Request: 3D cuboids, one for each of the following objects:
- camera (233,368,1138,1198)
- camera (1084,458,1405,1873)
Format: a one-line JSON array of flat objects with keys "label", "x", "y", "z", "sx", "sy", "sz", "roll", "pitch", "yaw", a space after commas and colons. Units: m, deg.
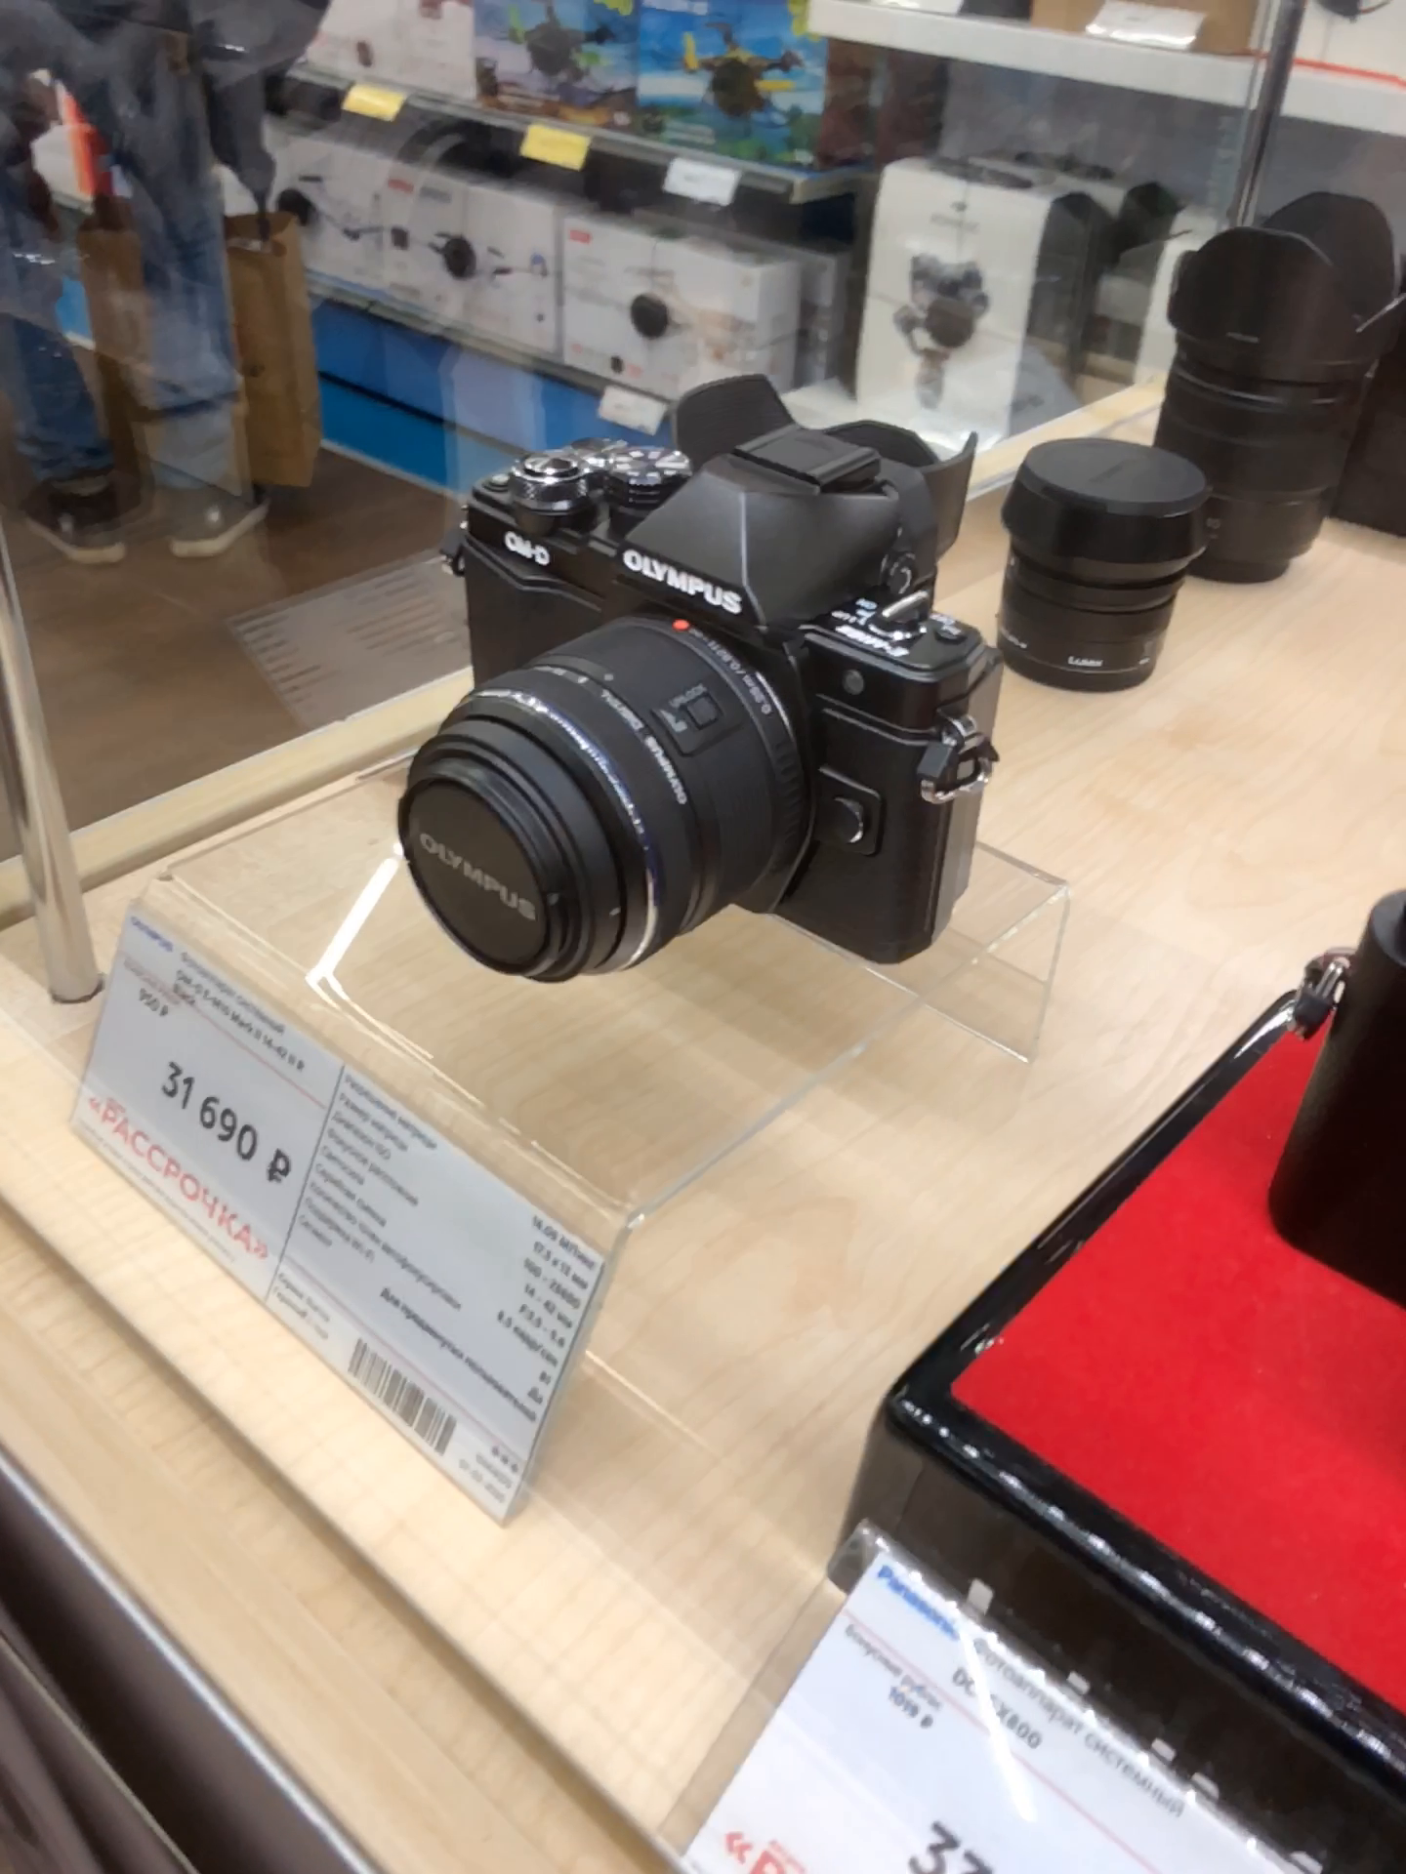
[{"label": "camera", "x": -0.005, "y": -0.039, "z": 0.291, "sx": 0.118, "sy": 0.088, "sz": 0.101, "roll": 30, "pitch": 44, "yaw": 32}, {"label": "camera", "x": 0.126, "y": 0.021, "z": 0.184, "sx": 0.118, "sy": 0.109, "sz": 0.072, "roll": 30, "pitch": 44, "yaw": 32}]
